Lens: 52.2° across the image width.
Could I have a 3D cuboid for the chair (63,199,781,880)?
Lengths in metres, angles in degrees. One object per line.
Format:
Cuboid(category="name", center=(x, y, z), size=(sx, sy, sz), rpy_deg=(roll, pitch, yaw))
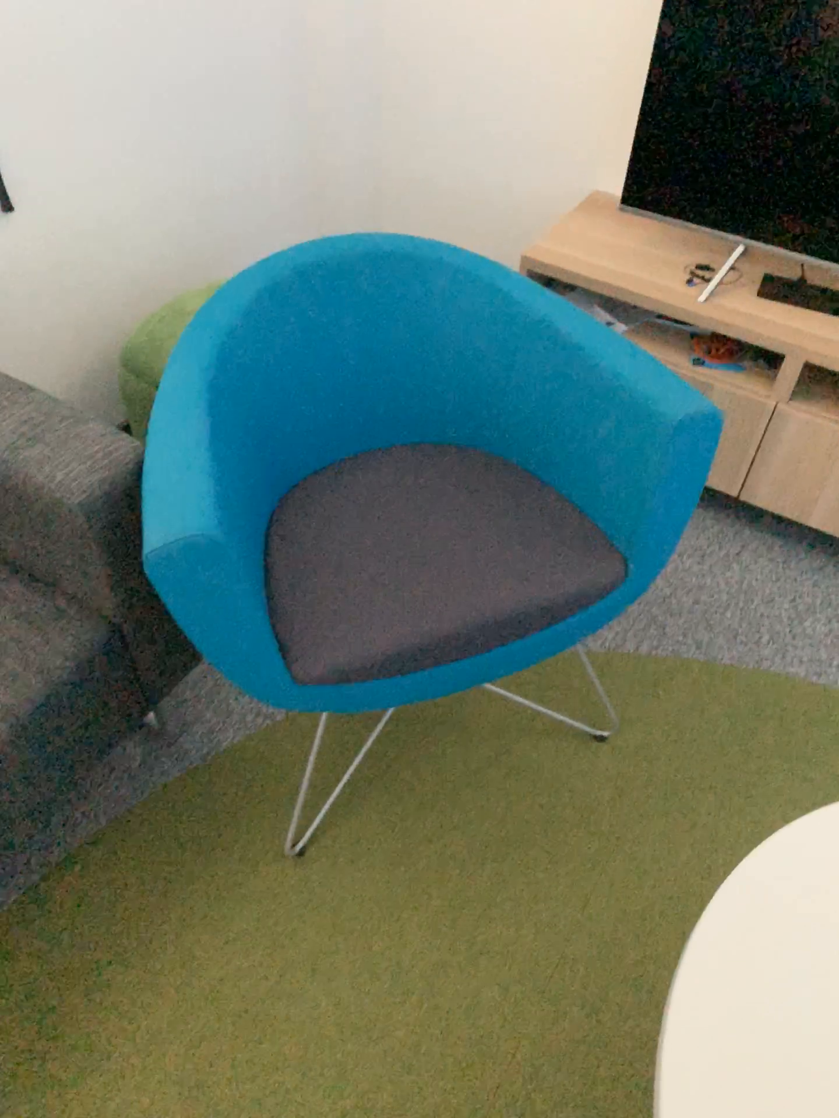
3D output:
Cuboid(category="chair", center=(-0.043, -0.055, 1.371), size=(0.761, 0.687, 0.622), rpy_deg=(-16, 49, -17))
